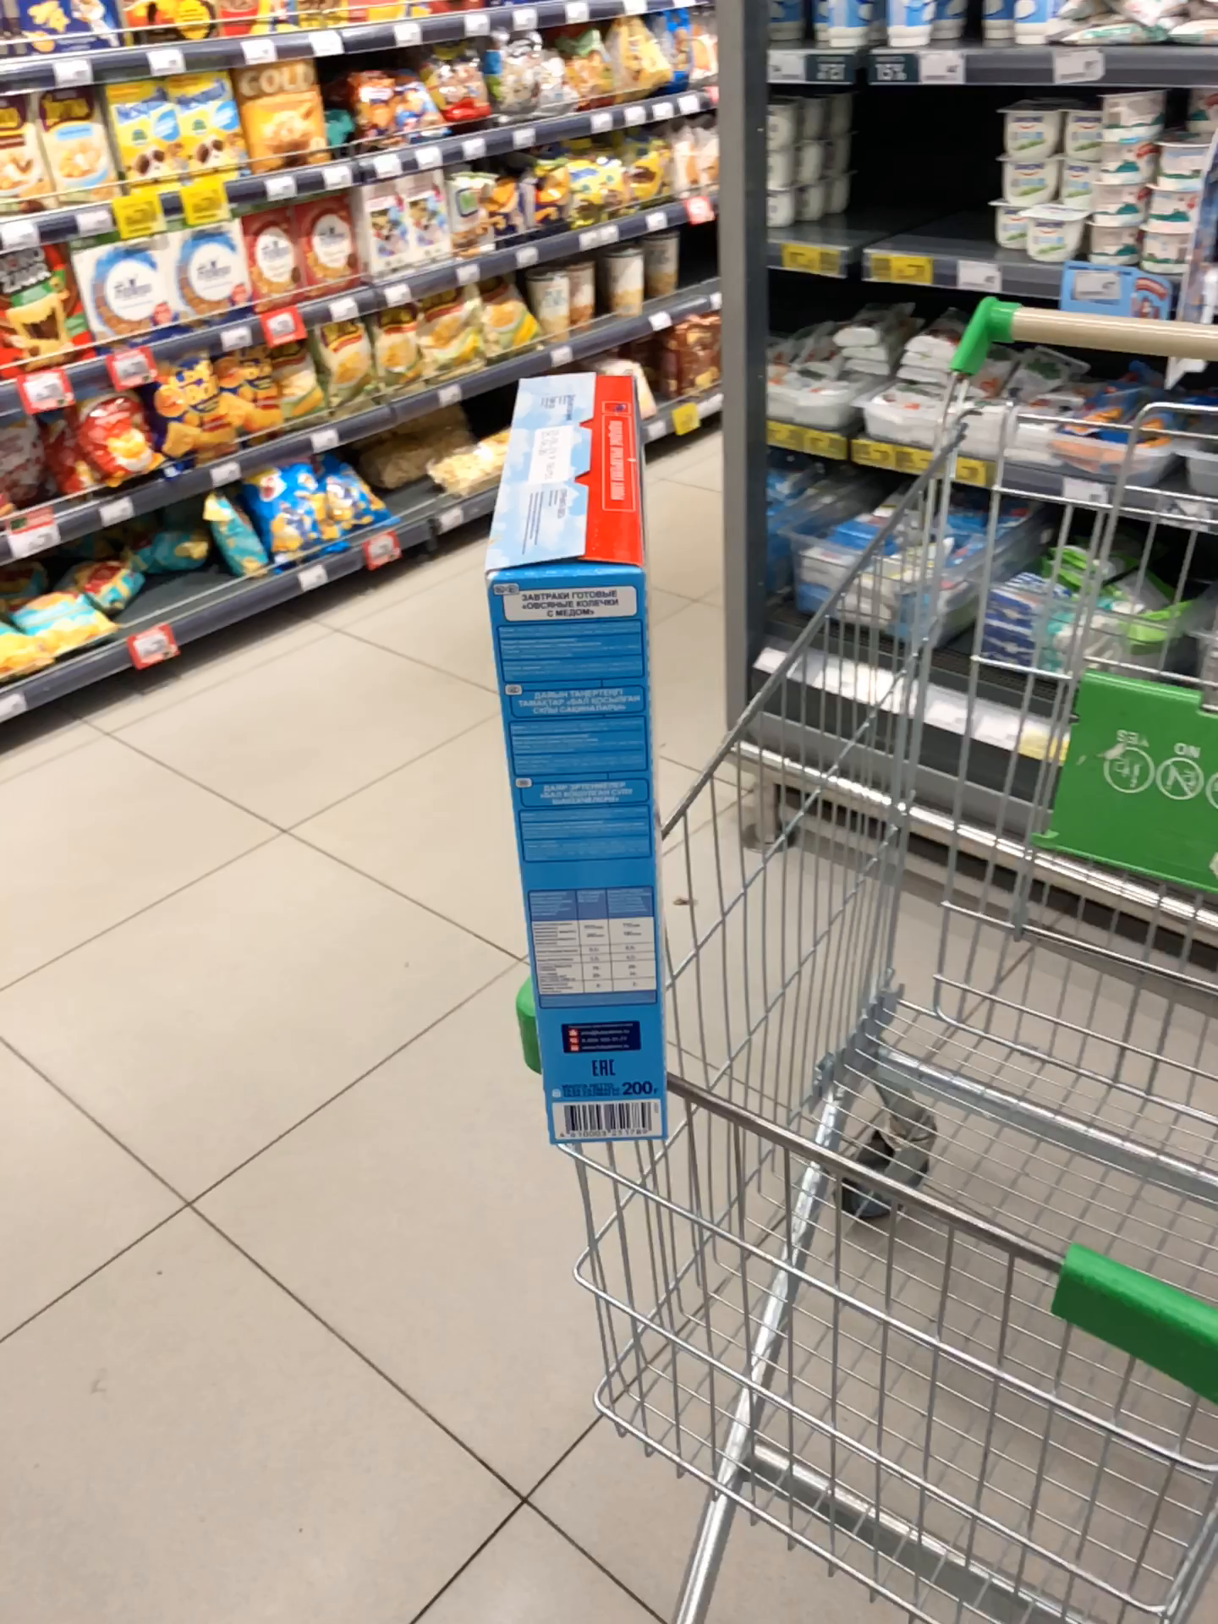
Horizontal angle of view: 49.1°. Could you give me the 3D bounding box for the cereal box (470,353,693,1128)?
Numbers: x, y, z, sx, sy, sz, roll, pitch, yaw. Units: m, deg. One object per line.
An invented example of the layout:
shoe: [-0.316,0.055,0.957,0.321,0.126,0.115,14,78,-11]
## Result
cereal box: [-0.004,-0.033,0.552,0.060,0.248,0.201,-3,34,2]
